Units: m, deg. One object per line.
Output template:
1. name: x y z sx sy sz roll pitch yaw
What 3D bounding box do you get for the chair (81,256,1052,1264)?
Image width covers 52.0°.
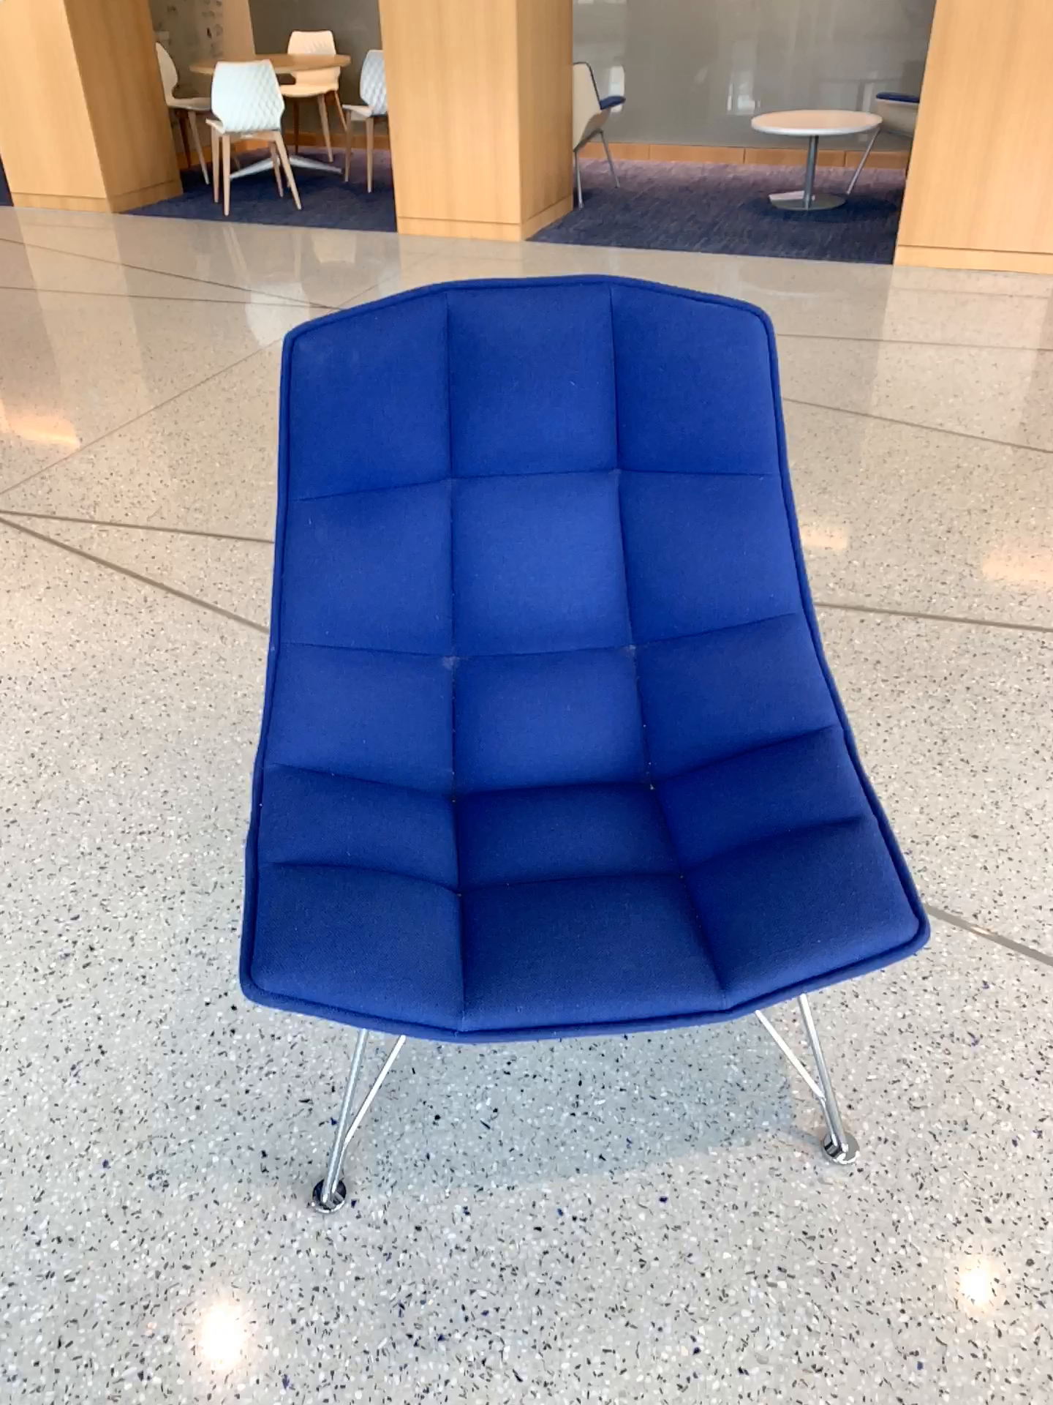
1. chair: 0.051 0.032 1.423 0.798 0.962 0.836 -4 34 -3
